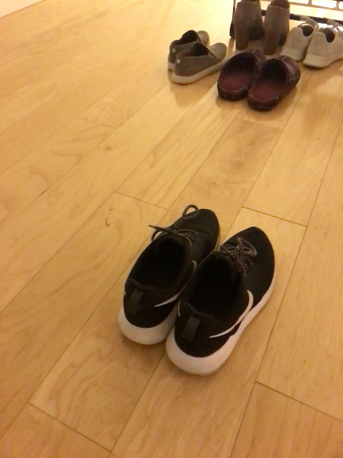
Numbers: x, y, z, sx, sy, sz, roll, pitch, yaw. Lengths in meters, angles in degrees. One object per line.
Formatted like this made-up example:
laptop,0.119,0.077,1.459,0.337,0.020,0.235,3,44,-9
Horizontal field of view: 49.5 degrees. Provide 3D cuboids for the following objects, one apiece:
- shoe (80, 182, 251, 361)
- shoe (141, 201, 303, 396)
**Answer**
shoe,0.004,0.047,0.581,0.130,0.070,0.272,24,50,22
shoe,0.084,0.082,0.549,0.120,0.070,0.272,24,50,22
